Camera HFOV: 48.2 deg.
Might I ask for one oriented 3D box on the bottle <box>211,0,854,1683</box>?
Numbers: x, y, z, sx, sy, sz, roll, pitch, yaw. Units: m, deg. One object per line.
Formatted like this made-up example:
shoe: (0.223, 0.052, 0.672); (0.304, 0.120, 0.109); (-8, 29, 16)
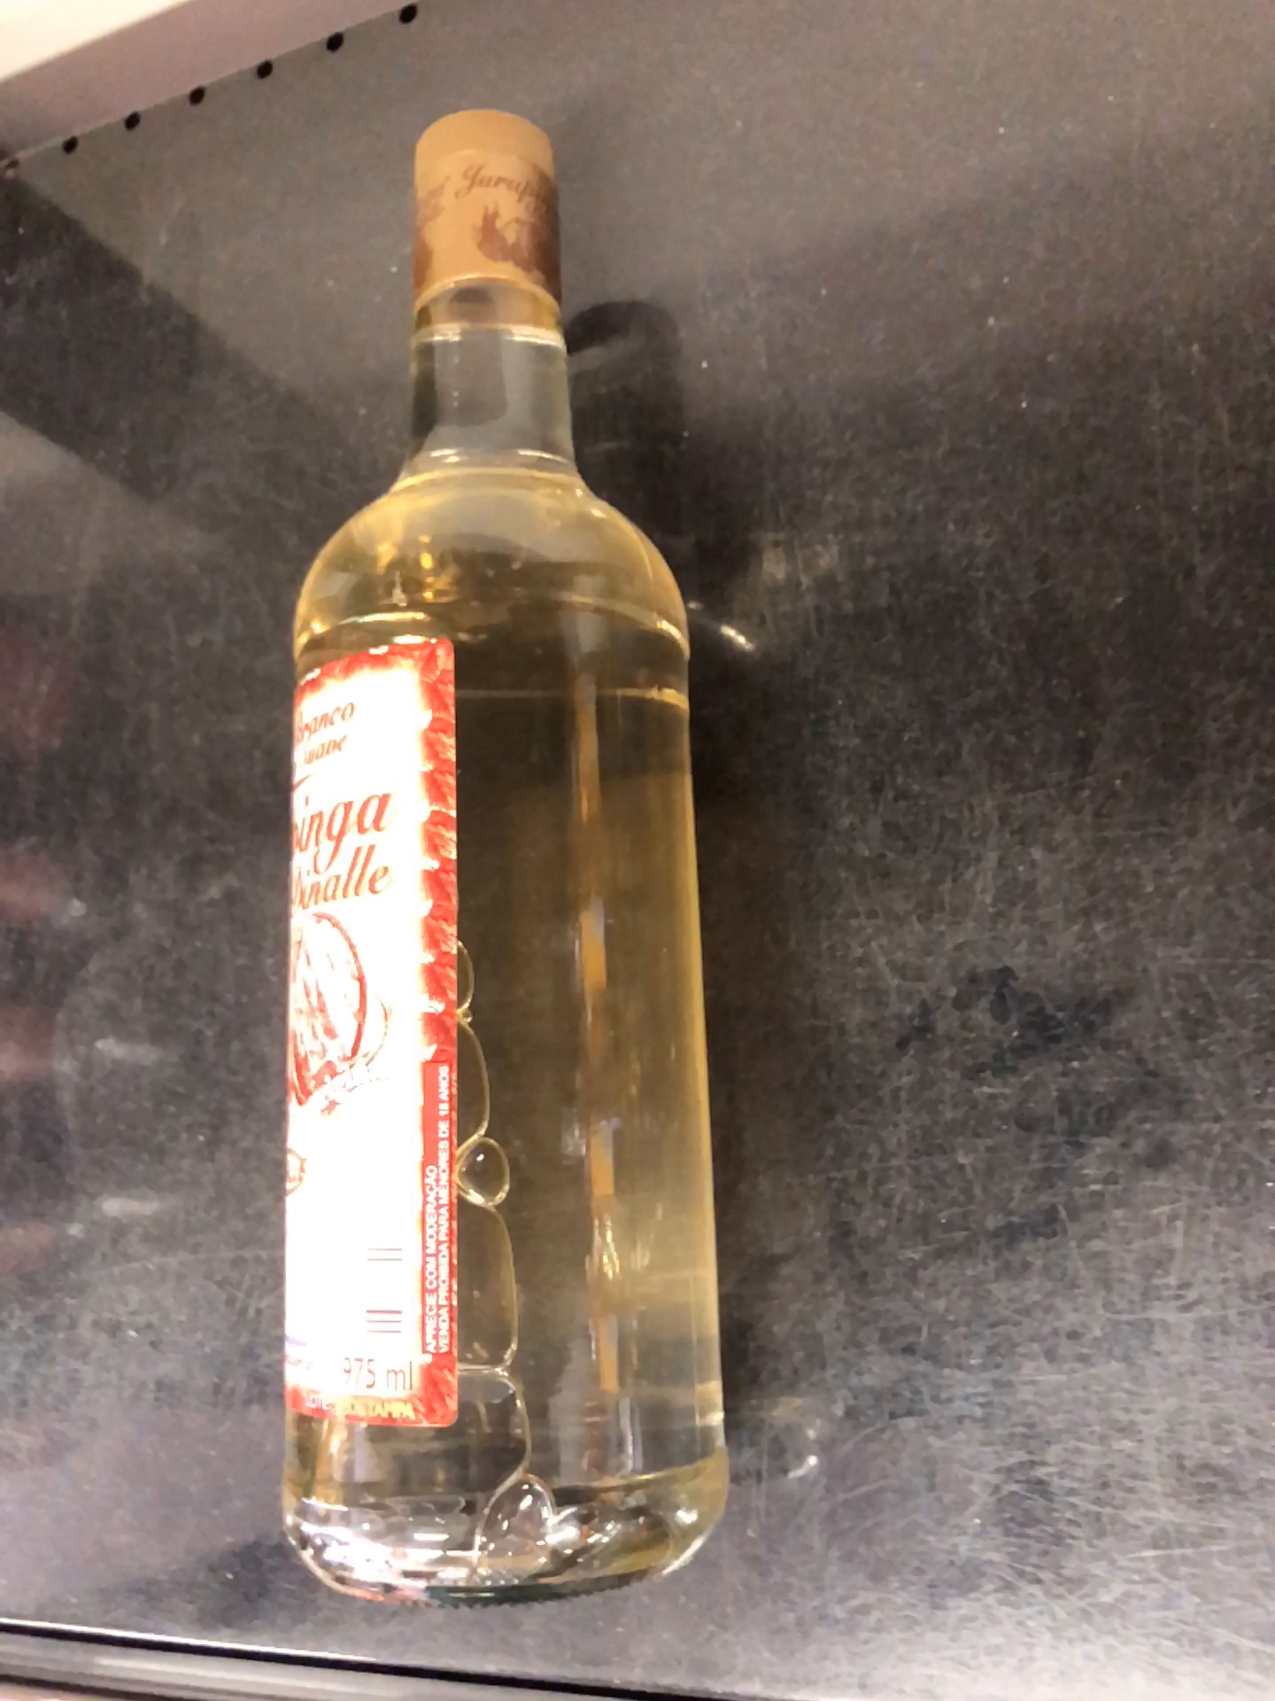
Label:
bottle: (-0.028, -0.018, 0.285); (0.100, 0.080, 0.300); (0, 80, -11)
